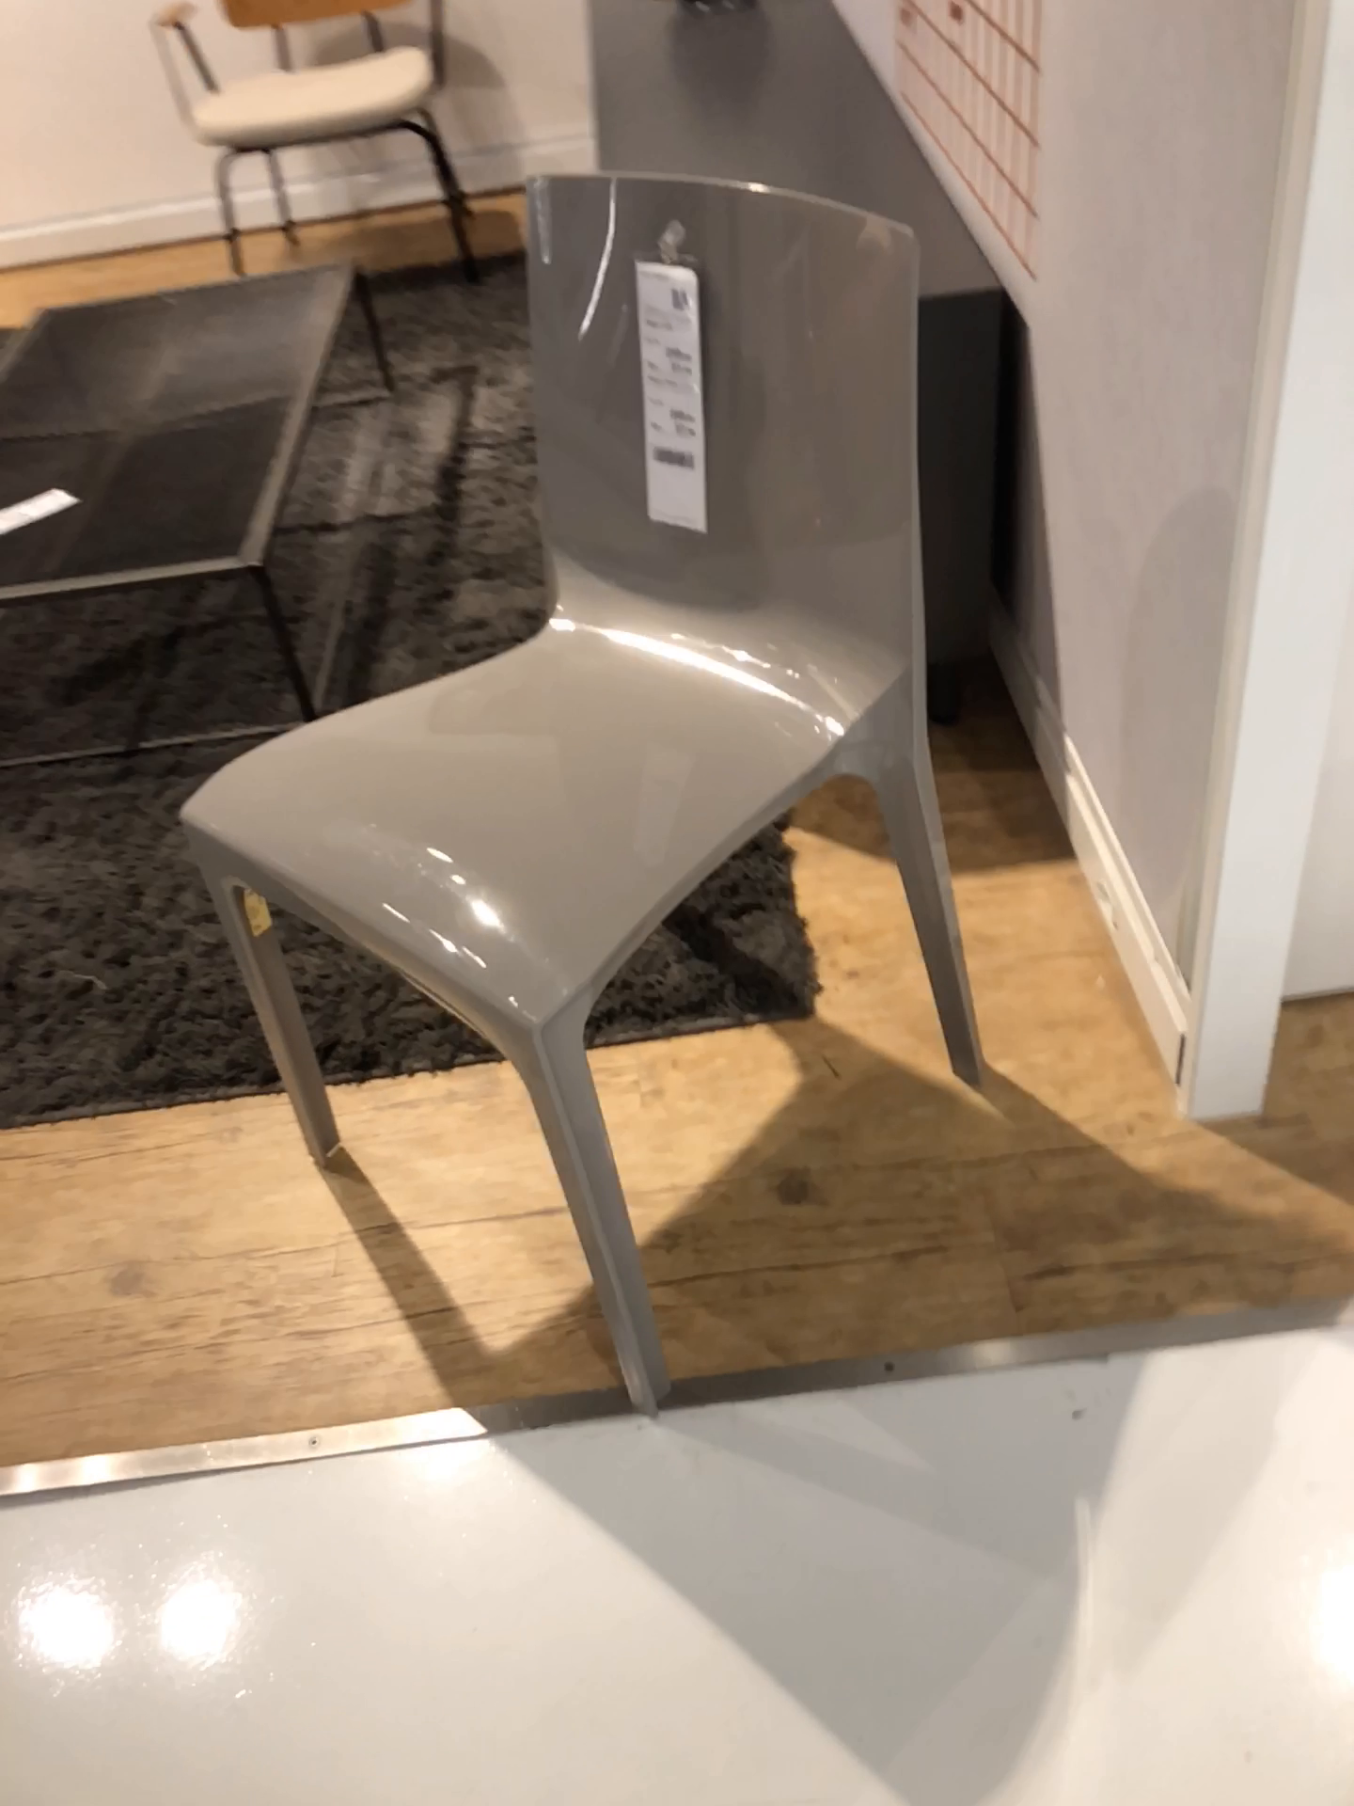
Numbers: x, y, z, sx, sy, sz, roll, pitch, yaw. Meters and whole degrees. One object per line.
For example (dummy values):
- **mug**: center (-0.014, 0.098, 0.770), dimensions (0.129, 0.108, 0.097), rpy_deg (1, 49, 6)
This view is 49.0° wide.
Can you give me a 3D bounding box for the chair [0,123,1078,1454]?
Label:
- **chair**: center (-0.077, -0.109, 1.193), dimensions (0.522, 0.754, 0.562), rpy_deg (29, 55, 36)
